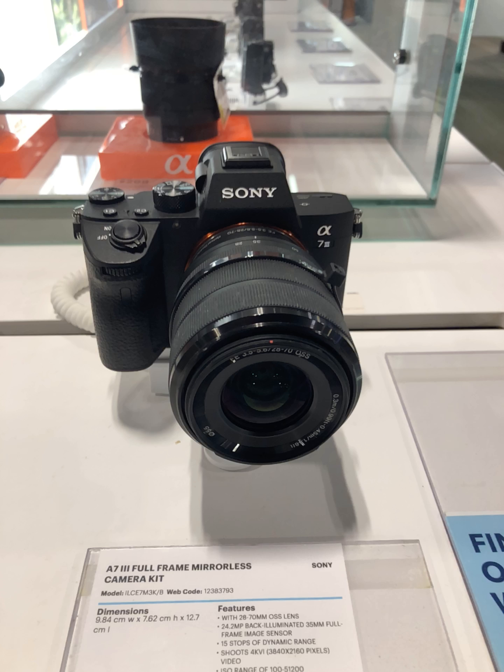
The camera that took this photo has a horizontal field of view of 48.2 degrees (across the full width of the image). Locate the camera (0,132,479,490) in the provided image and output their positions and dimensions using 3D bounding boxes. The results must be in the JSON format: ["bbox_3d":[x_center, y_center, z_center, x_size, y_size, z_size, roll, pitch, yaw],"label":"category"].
[{"bbox_3d":[-0.008,-0.026,0.252,0.140,0.079,0.161,-2,36,-3],"label":"camera"}]
